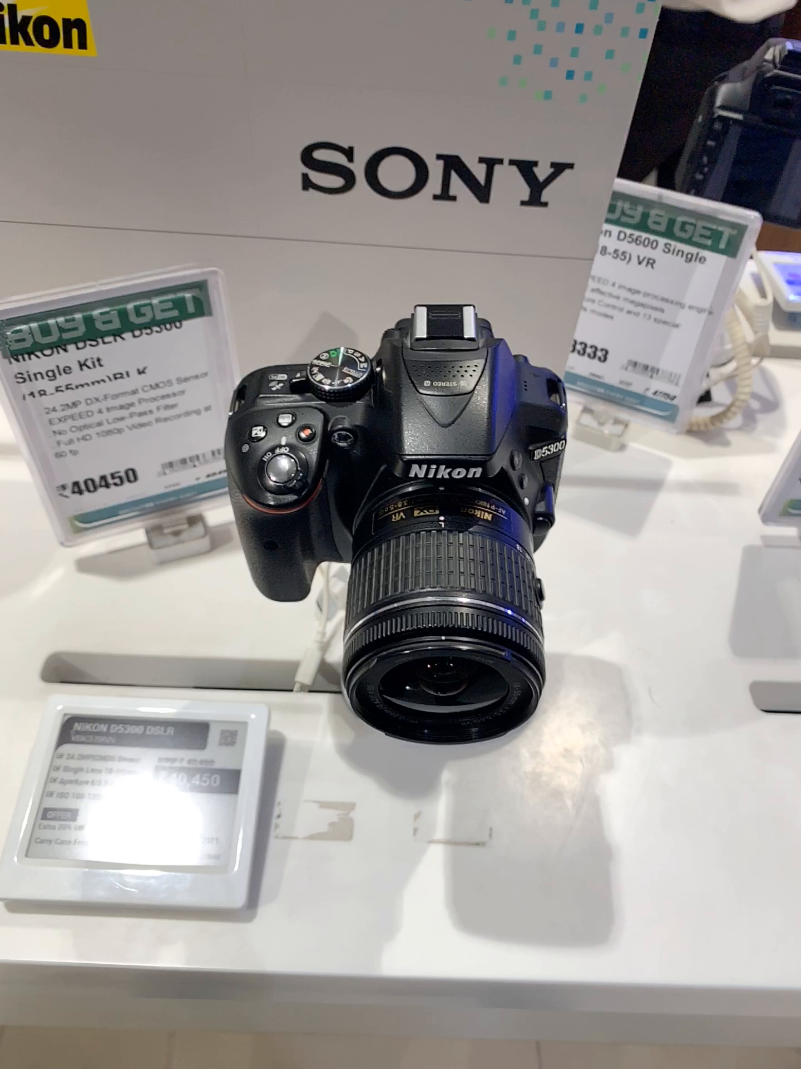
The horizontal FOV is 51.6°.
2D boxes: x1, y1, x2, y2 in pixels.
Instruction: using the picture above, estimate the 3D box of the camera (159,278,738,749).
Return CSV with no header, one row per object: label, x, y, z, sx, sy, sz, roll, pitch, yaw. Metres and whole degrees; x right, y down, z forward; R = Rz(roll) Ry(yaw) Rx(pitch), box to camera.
camera,0.008,-0.011,0.255,0.130,0.070,0.130,0,47,-4
